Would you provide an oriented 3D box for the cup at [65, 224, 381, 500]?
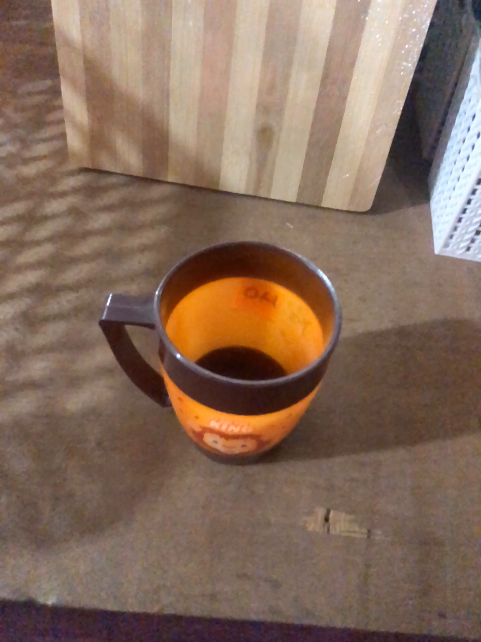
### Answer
[{"bbox_3d":[-0.004,0.022,0.222,0.100,0.090,0.060,11,55,3],"label":"cup"}]
